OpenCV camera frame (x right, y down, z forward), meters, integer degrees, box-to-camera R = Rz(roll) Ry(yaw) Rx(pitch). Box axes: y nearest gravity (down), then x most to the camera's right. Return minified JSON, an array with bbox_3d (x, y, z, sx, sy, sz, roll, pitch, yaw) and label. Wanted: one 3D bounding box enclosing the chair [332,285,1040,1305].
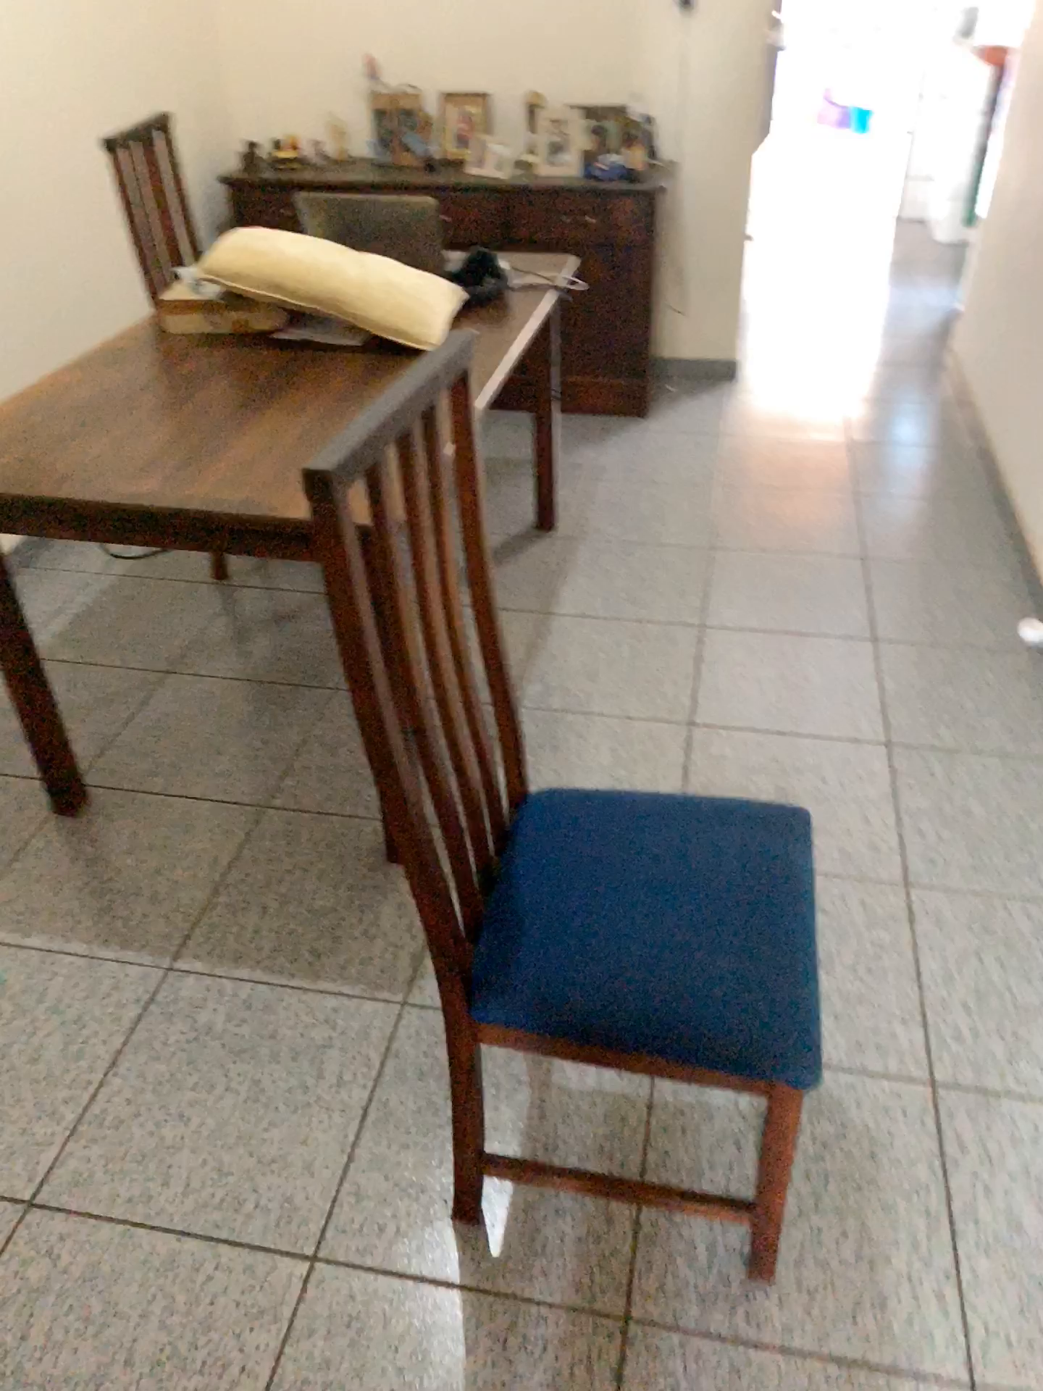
[{"bbox_3d":[0.162,0.153,1.285,0.520,1.124,0.473,6,34,10],"label":"chair"}]
